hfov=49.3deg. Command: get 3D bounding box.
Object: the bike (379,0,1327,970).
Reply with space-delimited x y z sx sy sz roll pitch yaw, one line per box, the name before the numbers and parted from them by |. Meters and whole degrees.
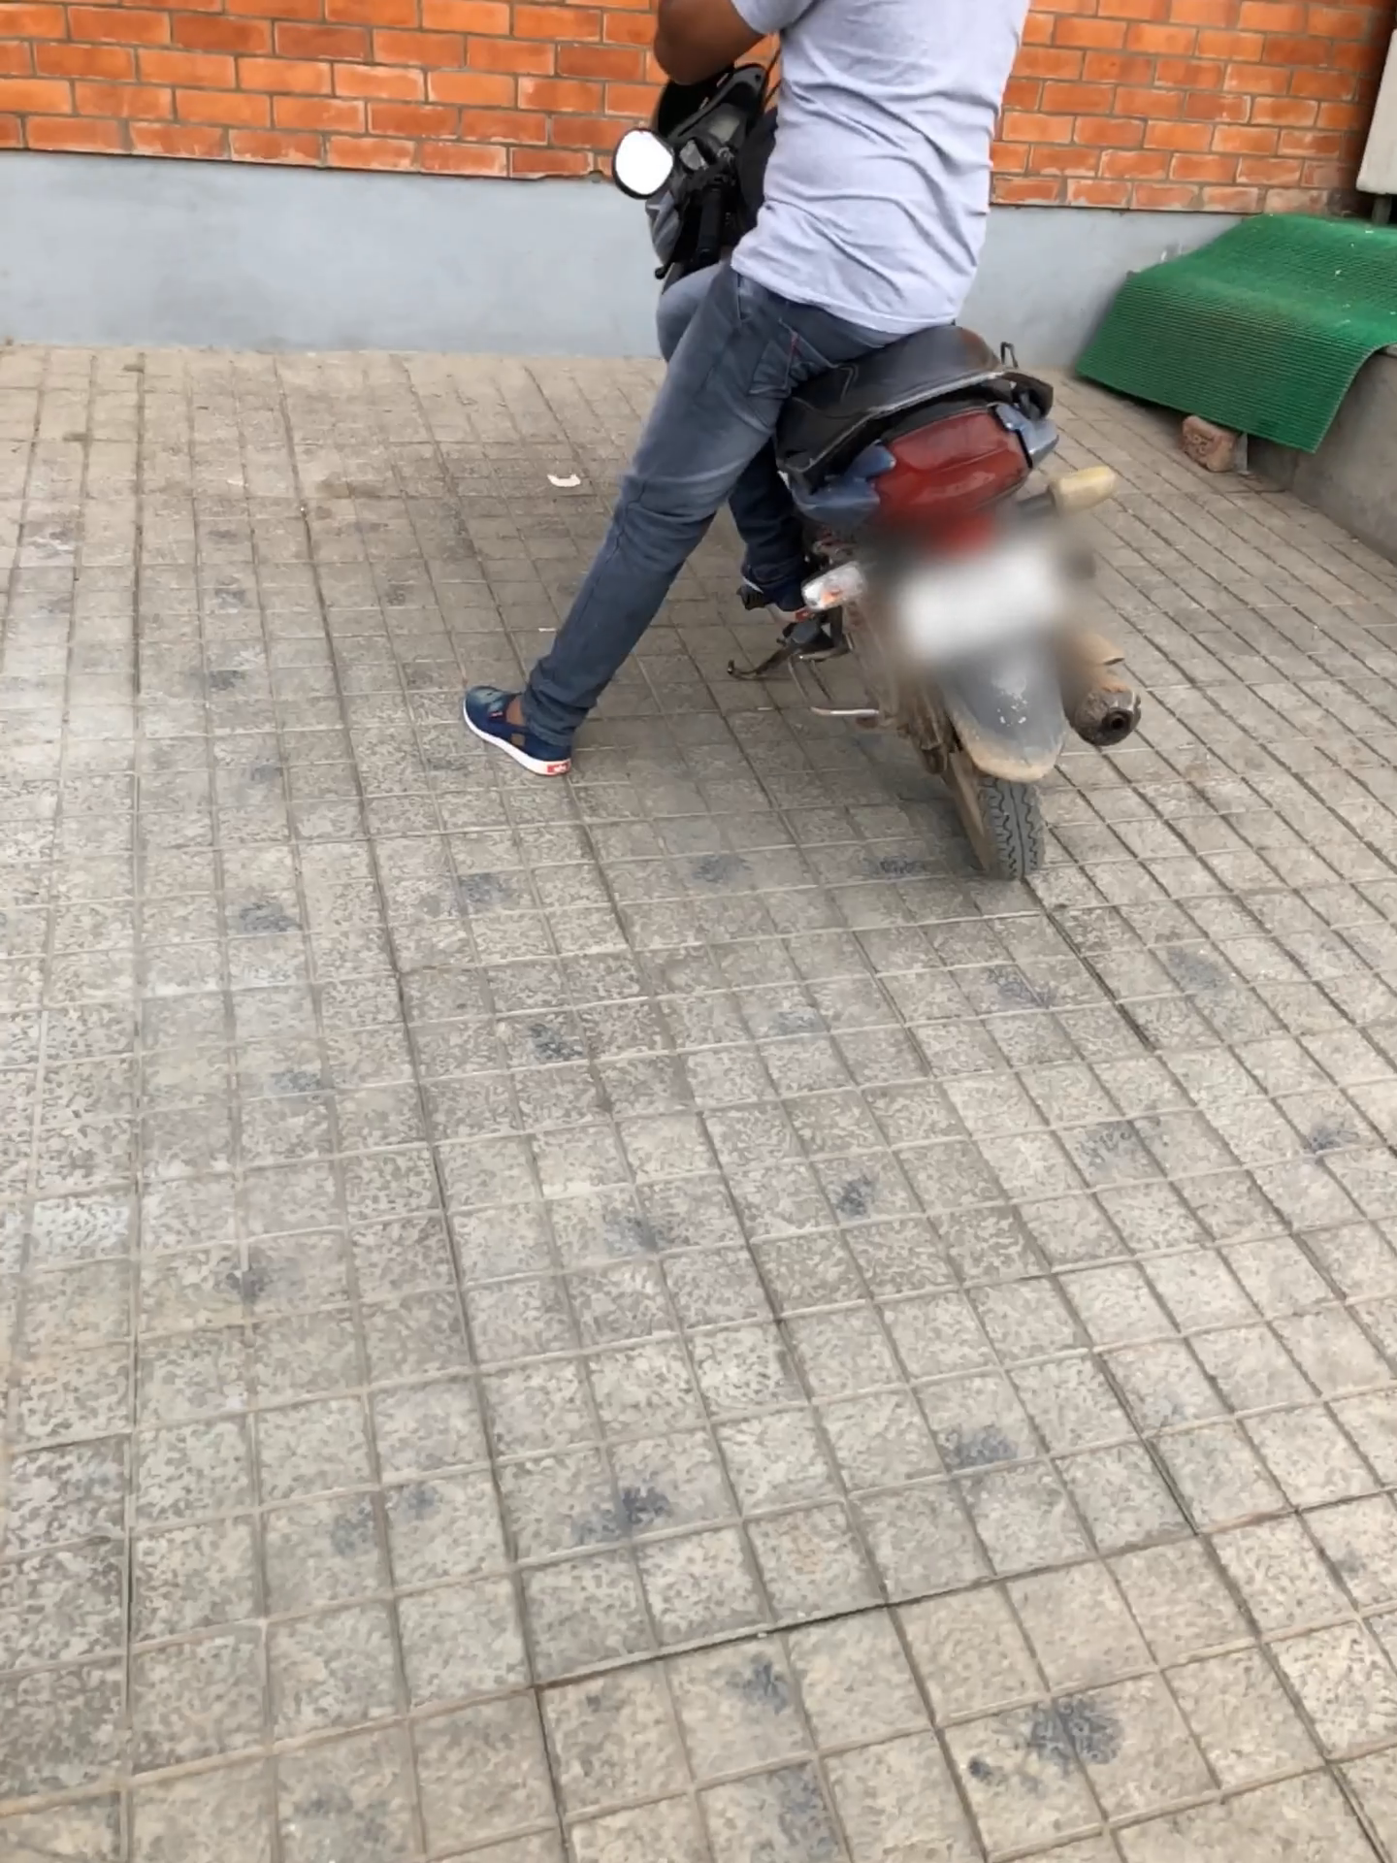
bike | -0.001 -1.076 2.662 0.813 1.344 1.830 -5 35 -15
